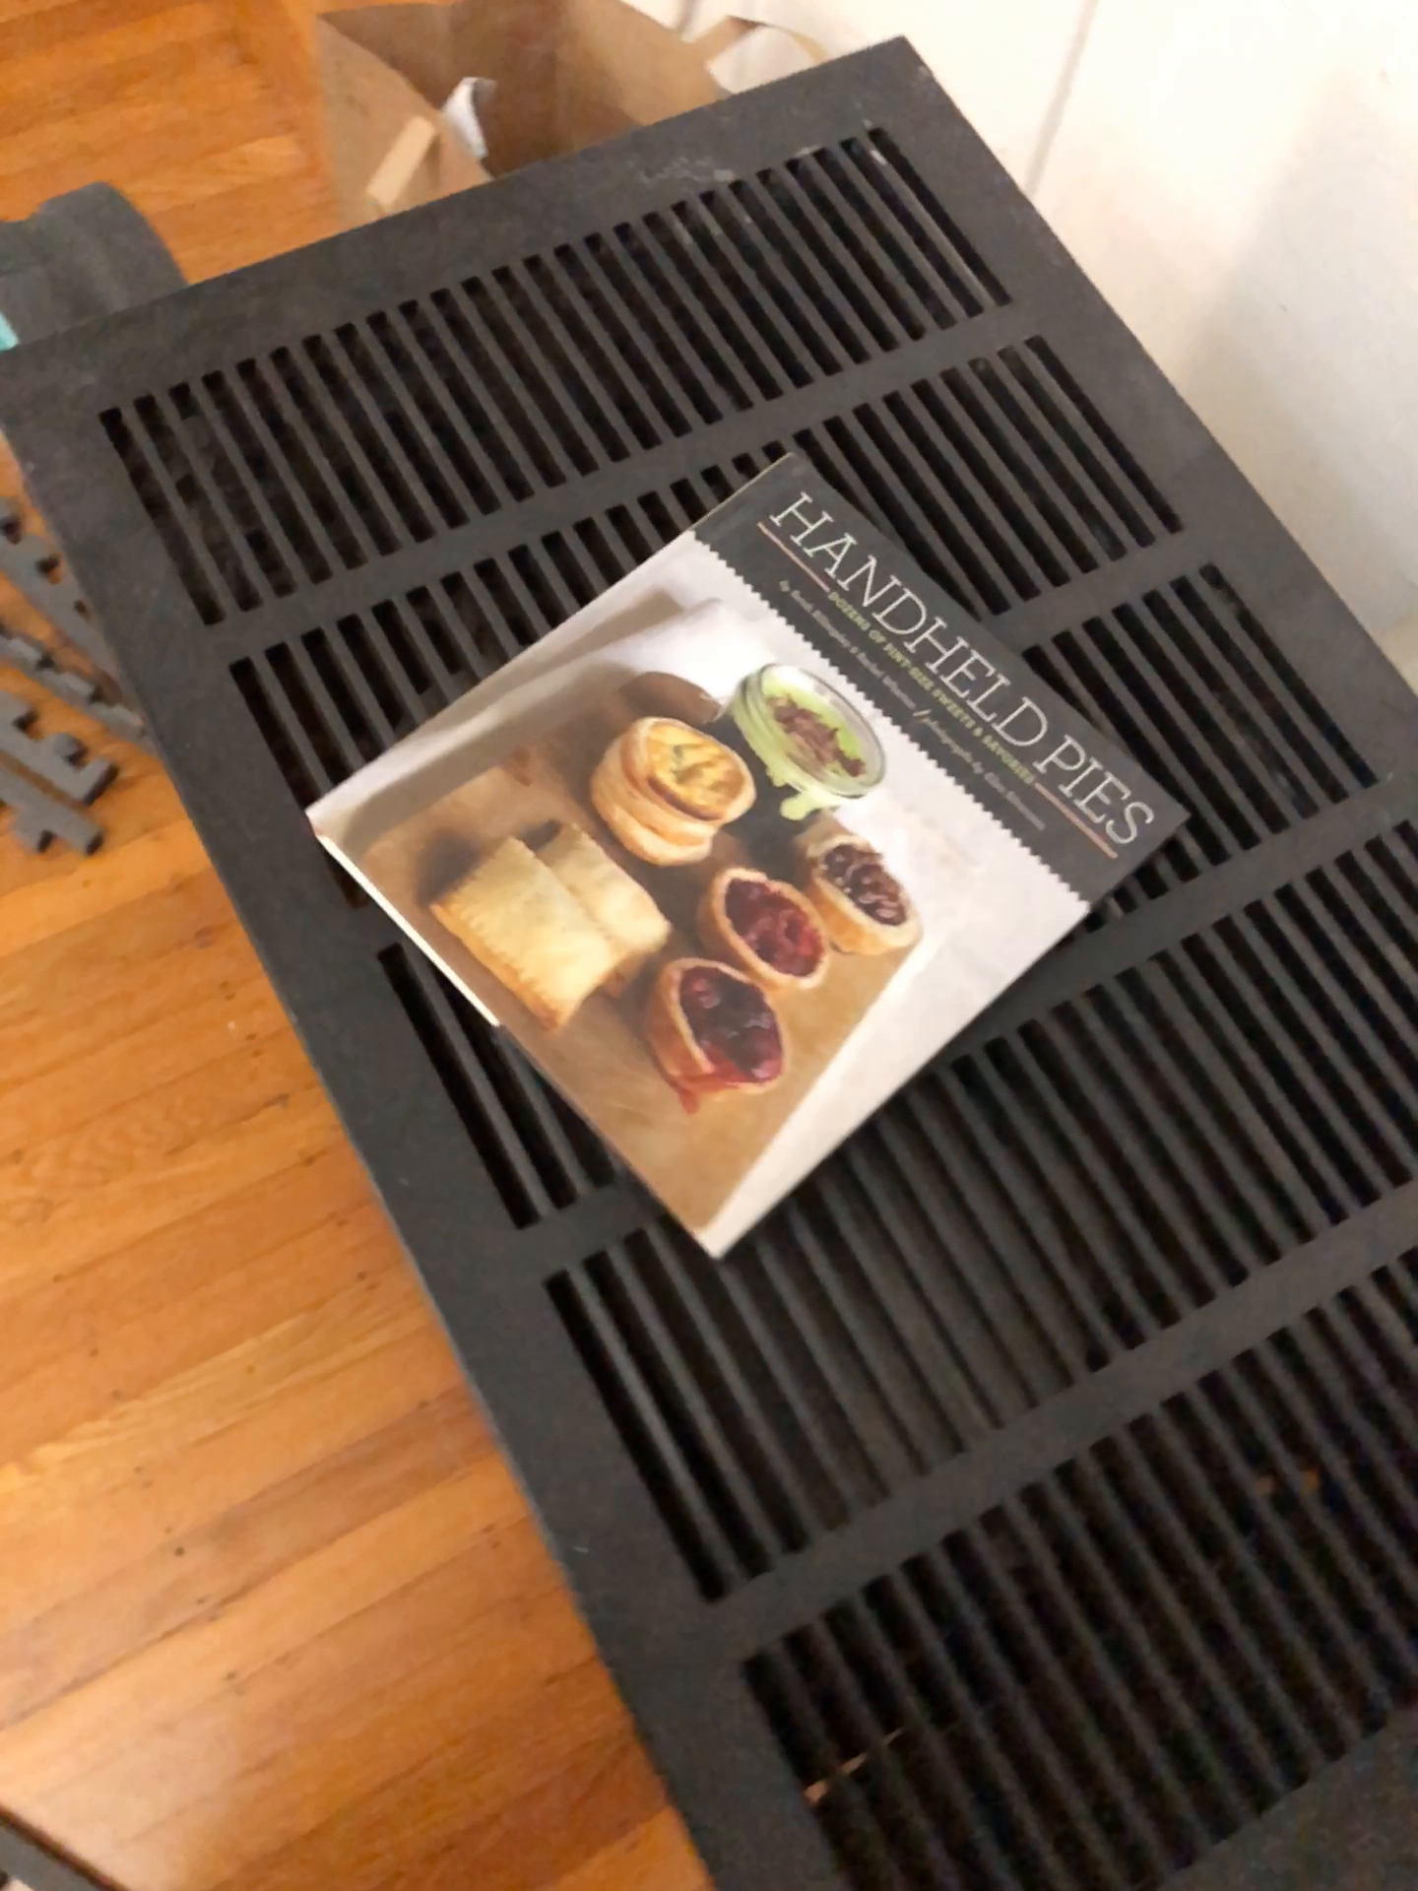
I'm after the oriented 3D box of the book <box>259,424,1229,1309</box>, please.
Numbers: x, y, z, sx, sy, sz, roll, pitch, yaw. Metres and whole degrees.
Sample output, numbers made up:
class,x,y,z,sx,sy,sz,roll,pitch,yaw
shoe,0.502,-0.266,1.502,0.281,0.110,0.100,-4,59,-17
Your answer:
class,x,y,z,sx,sy,sz,roll,pitch,yaw
book,0.014,-0.040,0.499,0.230,0.020,0.200,-40,75,-18
